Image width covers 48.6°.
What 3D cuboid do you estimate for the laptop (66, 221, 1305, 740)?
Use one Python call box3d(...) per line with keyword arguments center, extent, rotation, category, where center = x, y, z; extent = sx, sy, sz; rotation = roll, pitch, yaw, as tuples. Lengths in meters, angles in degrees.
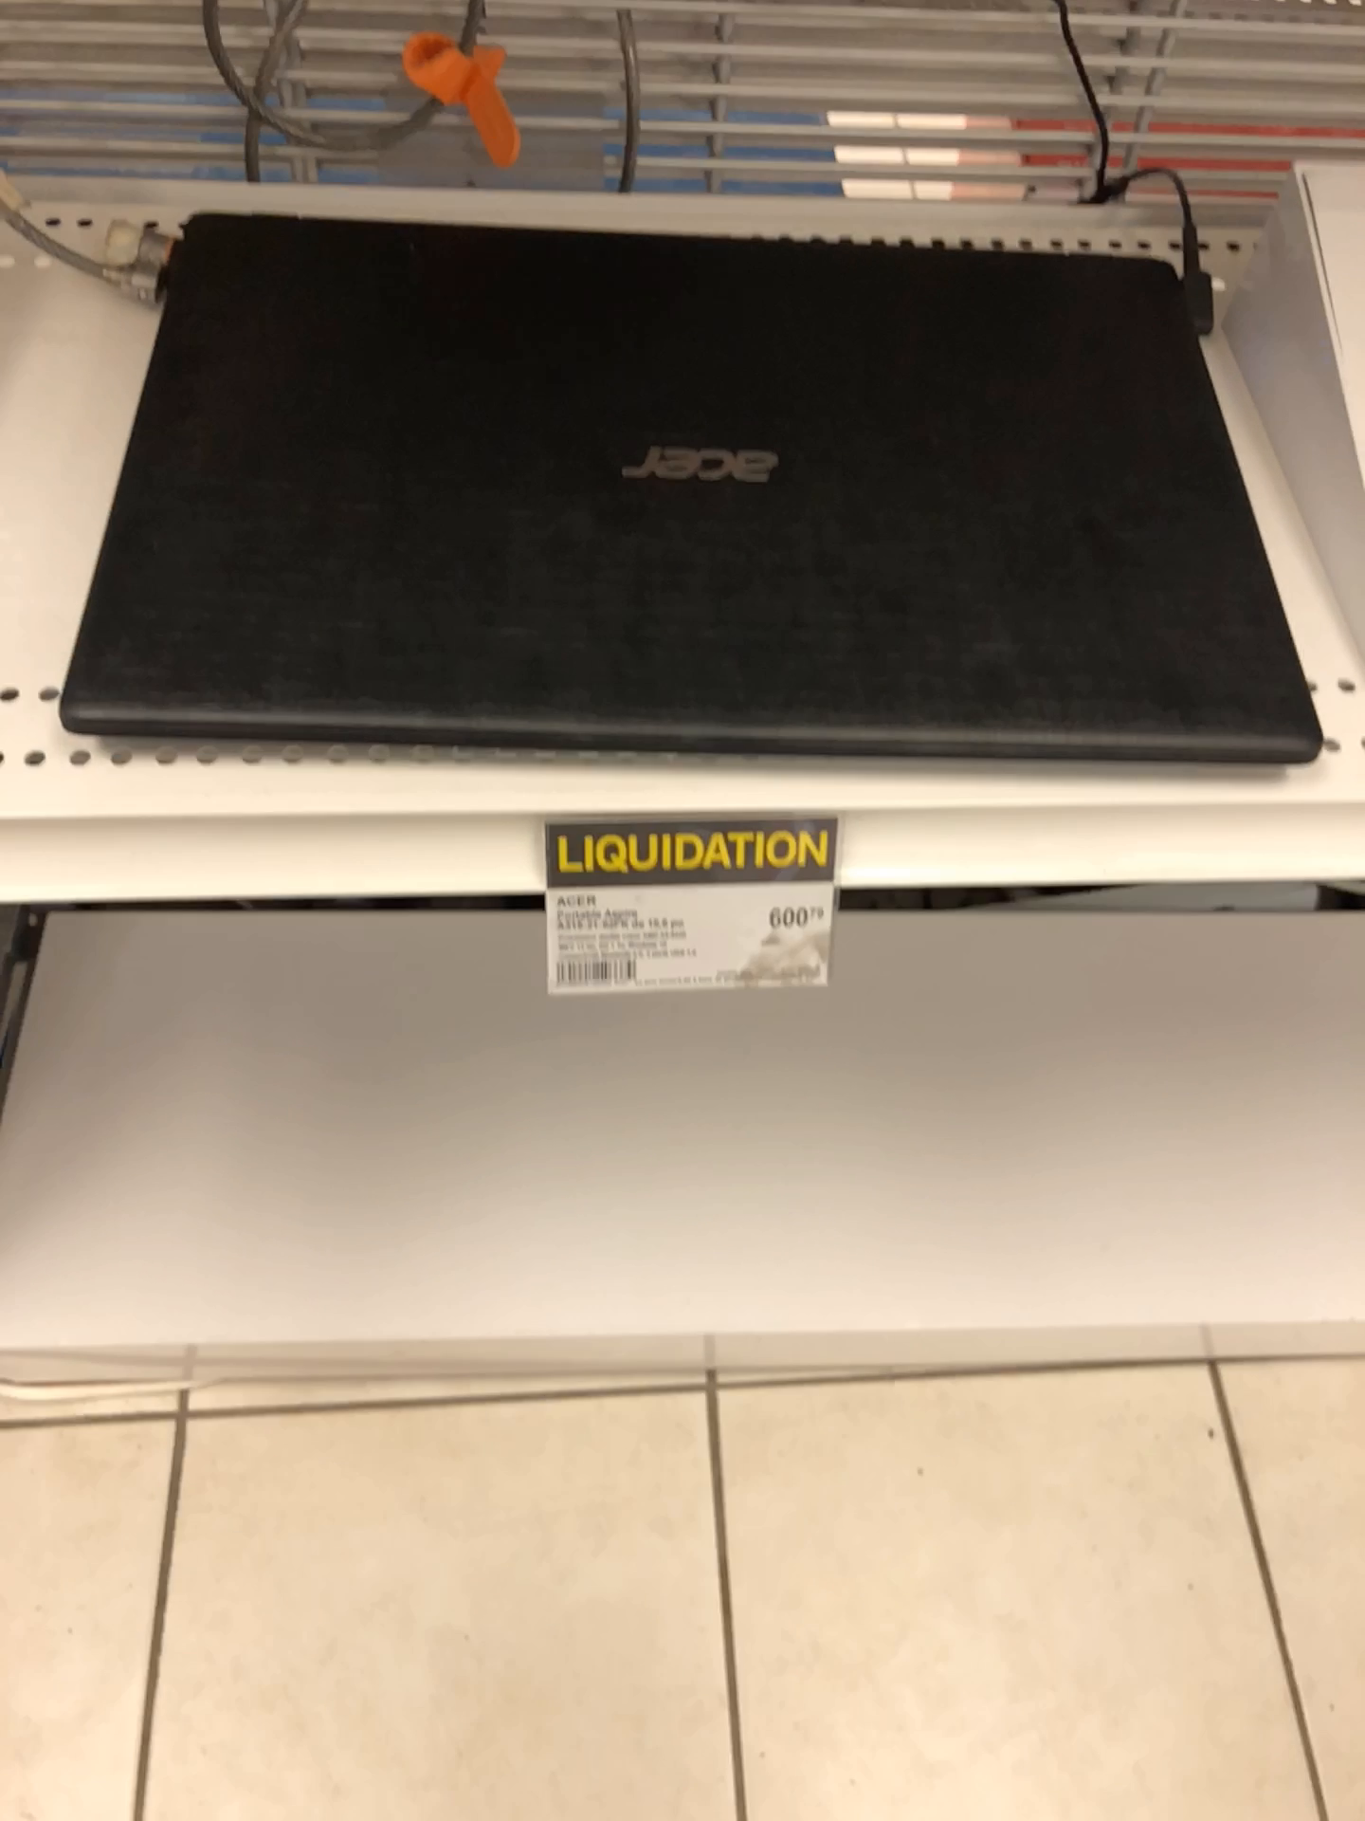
box3d(center=(0.006, -0.159, 0.525), extent=(0.374, 0.003, 0.248), rotation=(1, 56, -4), category="laptop")
